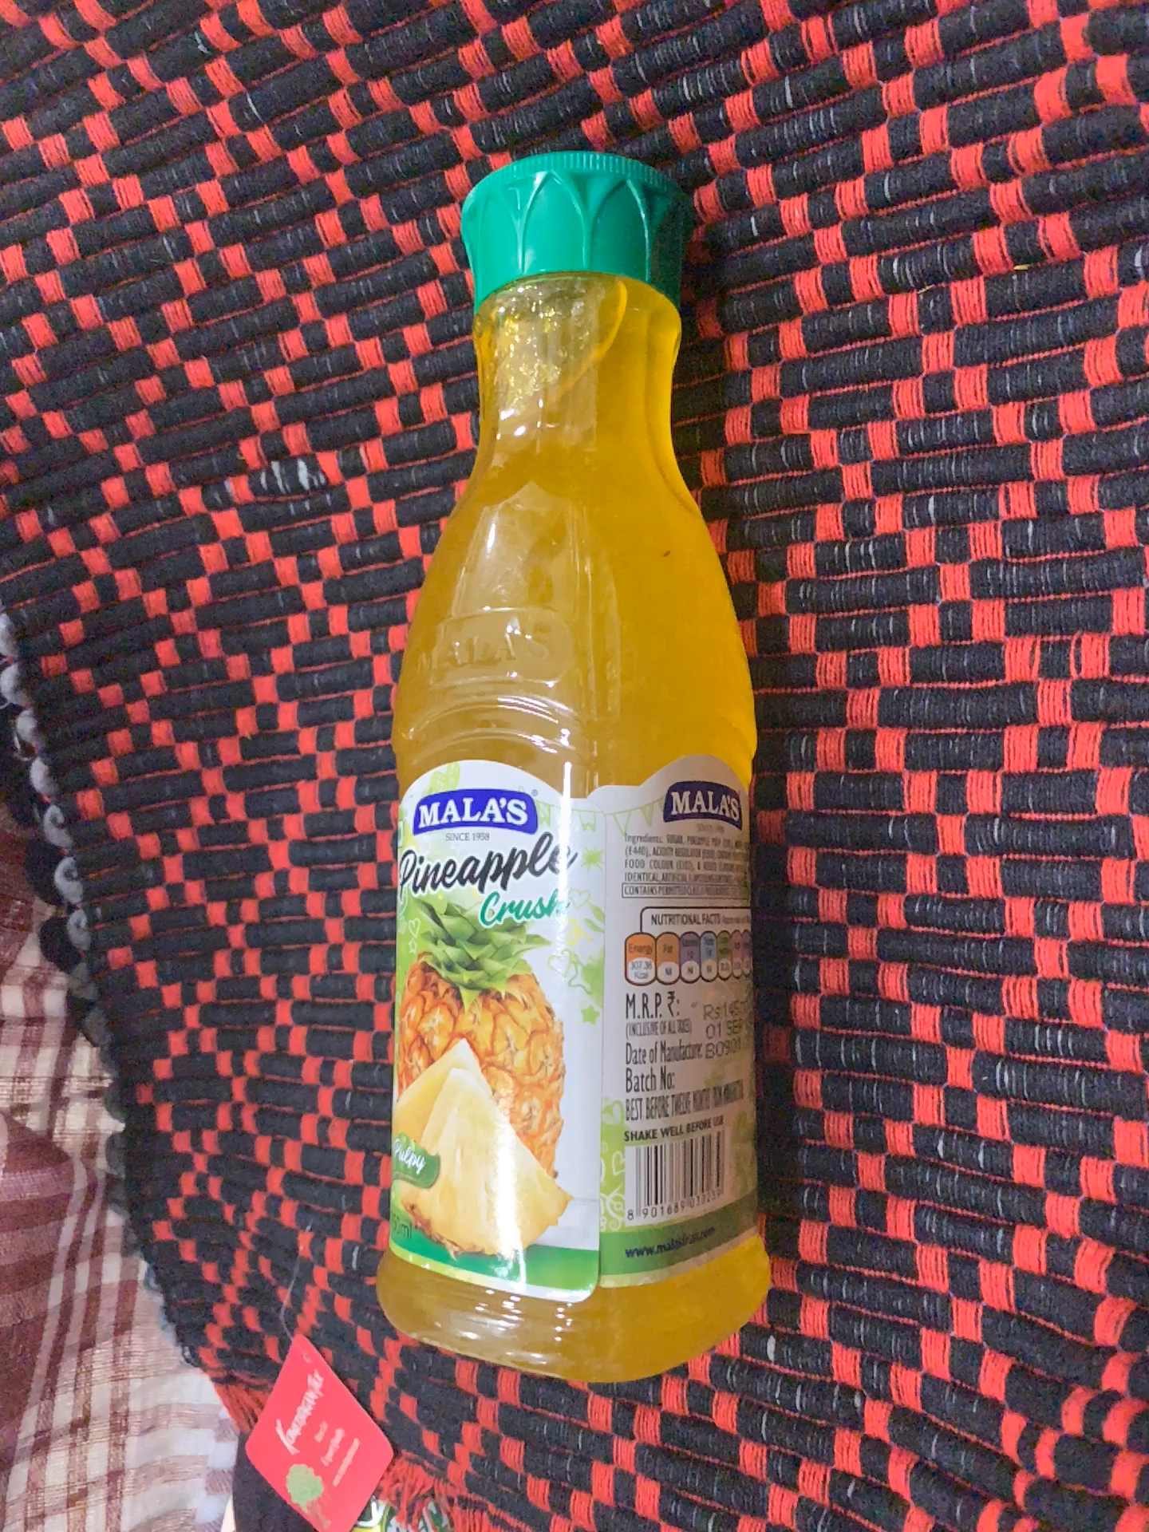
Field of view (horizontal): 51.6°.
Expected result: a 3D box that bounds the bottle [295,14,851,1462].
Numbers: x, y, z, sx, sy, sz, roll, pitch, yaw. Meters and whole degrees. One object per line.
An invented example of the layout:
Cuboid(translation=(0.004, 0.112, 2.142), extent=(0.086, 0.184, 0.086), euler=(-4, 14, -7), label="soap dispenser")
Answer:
Cuboid(translation=(0.001, -0.006, 0.238), extent=(0.080, 0.070, 0.230), euler=(-5, 82, 34), label="bottle")
